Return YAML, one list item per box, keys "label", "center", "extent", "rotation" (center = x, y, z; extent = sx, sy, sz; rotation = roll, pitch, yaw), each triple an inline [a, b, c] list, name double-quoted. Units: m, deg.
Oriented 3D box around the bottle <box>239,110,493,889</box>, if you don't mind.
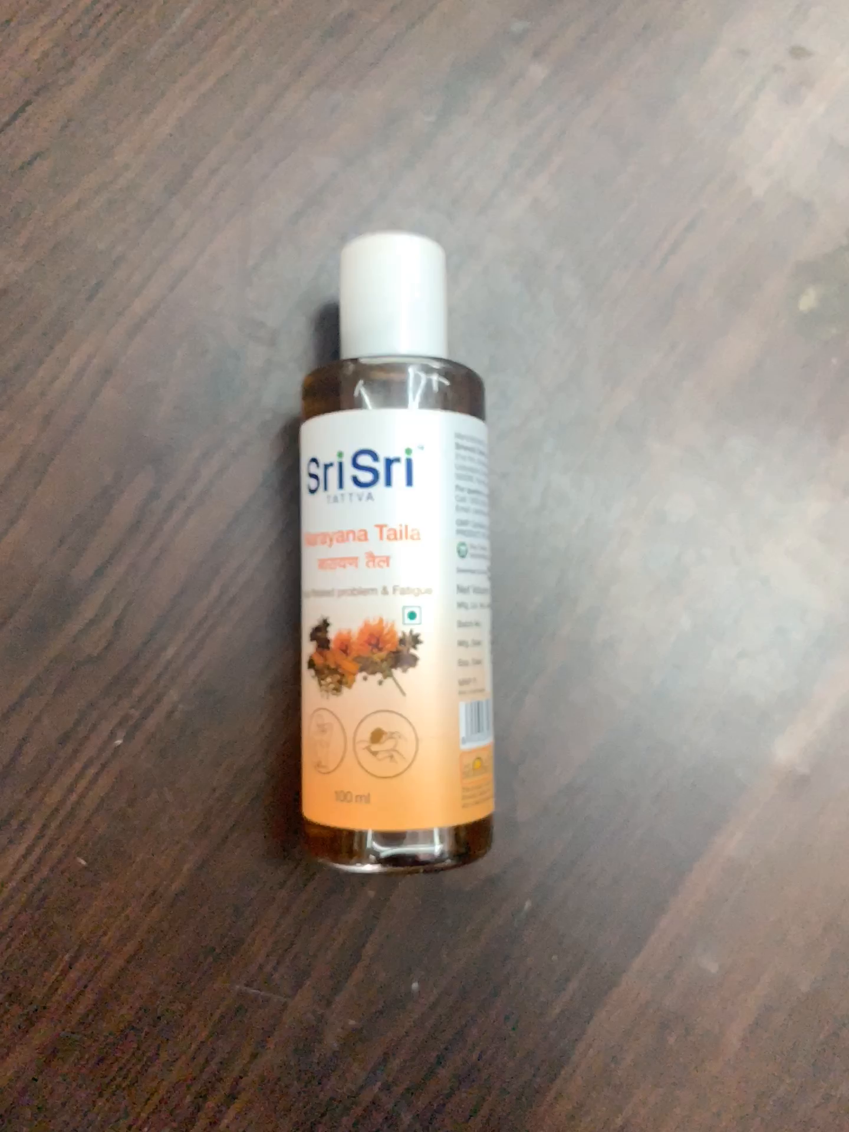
- label: "bottle"
  center: [-0.010, -0.012, 0.183]
  extent: [0.040, 0.040, 0.140]
  rotation: [-2, 86, 9]
